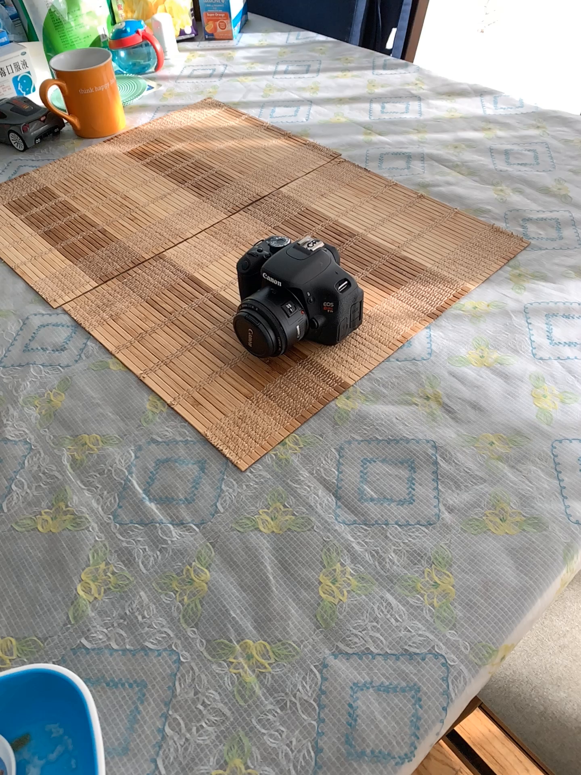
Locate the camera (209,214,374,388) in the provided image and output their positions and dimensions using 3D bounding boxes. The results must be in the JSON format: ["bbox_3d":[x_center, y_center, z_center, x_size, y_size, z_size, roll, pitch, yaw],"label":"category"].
[{"bbox_3d":[0.004,-0.090,0.601,0.100,0.092,0.125,34,58,29],"label":"camera"}]
